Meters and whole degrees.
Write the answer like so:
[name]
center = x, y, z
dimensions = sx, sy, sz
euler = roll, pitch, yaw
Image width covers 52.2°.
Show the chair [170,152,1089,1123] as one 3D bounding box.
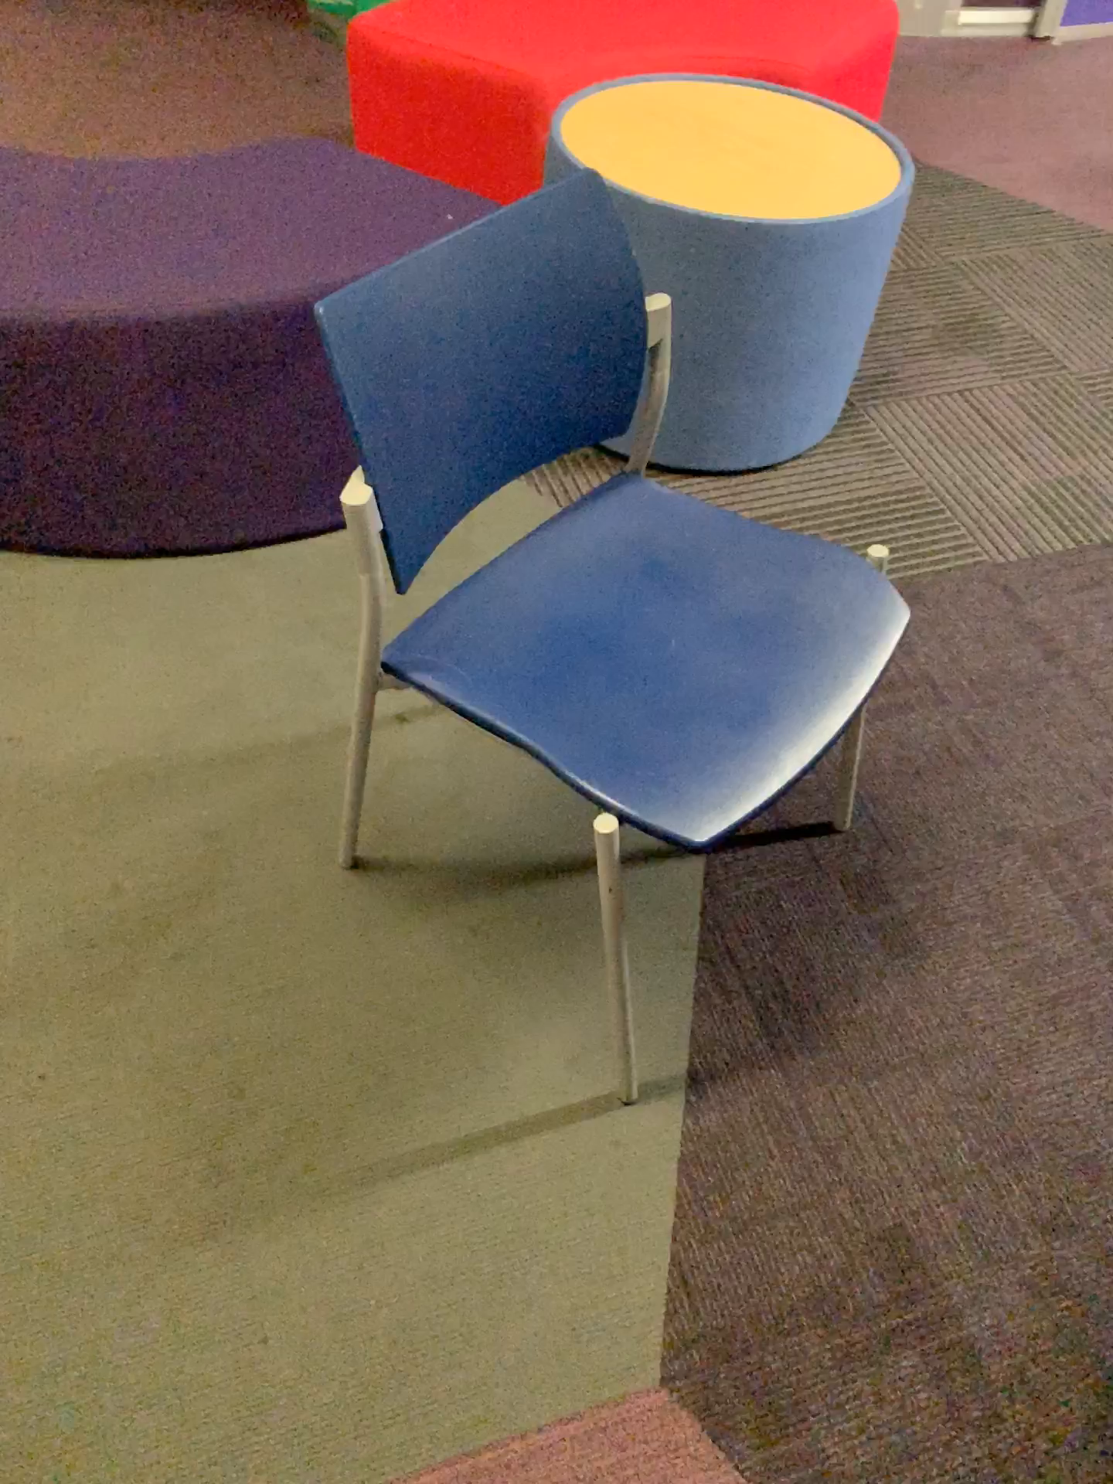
[chair]
center = 0.066, -0.115, 1.241
dimensions = 0.572, 0.694, 0.563
euler = 32, 55, 24
